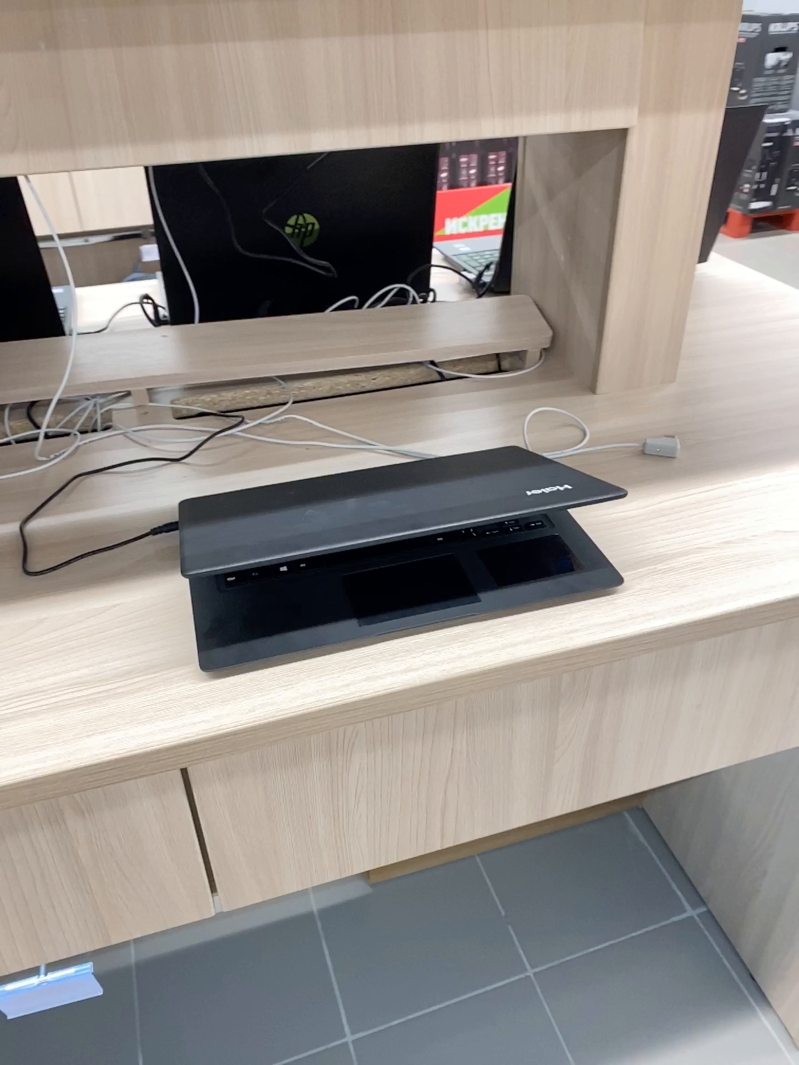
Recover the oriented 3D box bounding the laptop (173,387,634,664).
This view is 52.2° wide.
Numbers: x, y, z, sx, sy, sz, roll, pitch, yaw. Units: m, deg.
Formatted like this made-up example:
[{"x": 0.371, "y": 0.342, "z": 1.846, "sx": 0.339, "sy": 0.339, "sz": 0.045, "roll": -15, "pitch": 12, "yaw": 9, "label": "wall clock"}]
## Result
[{"x": -0.009, "y": -0.022, "z": 0.658, "sx": 0.319, "sy": 0.072, "sz": 0.202, "roll": -10, "pitch": 35, "yaw": -13, "label": "laptop"}]
